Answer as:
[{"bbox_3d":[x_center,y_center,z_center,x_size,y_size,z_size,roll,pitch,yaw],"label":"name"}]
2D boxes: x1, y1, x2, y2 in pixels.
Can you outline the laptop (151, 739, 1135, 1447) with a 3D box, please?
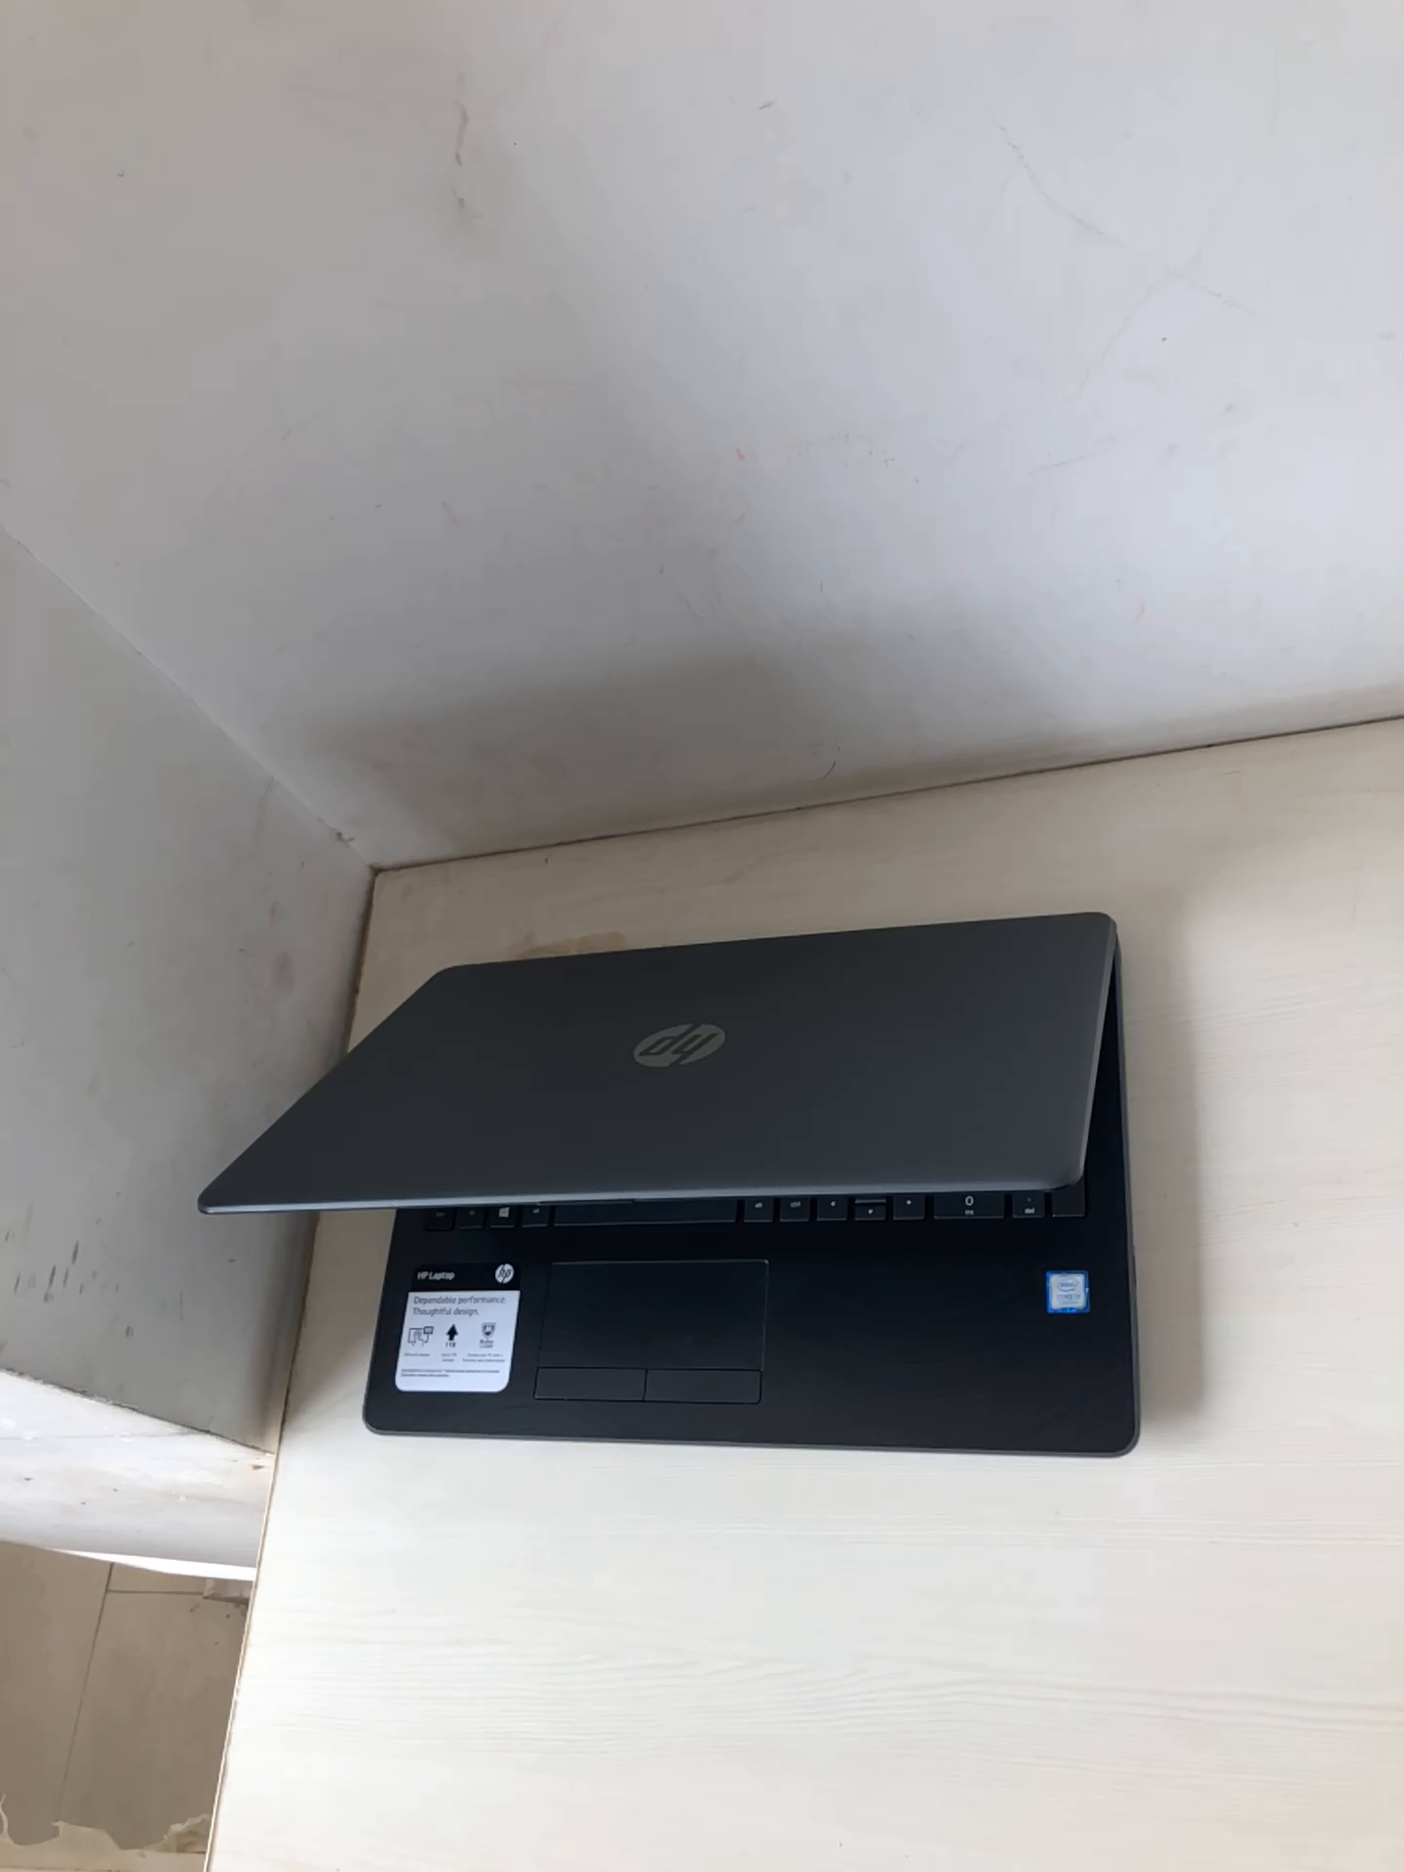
[{"bbox_3d":[-0.013,0.078,0.677,0.356,0.157,0.245,-5,60,18],"label":"laptop"}]
